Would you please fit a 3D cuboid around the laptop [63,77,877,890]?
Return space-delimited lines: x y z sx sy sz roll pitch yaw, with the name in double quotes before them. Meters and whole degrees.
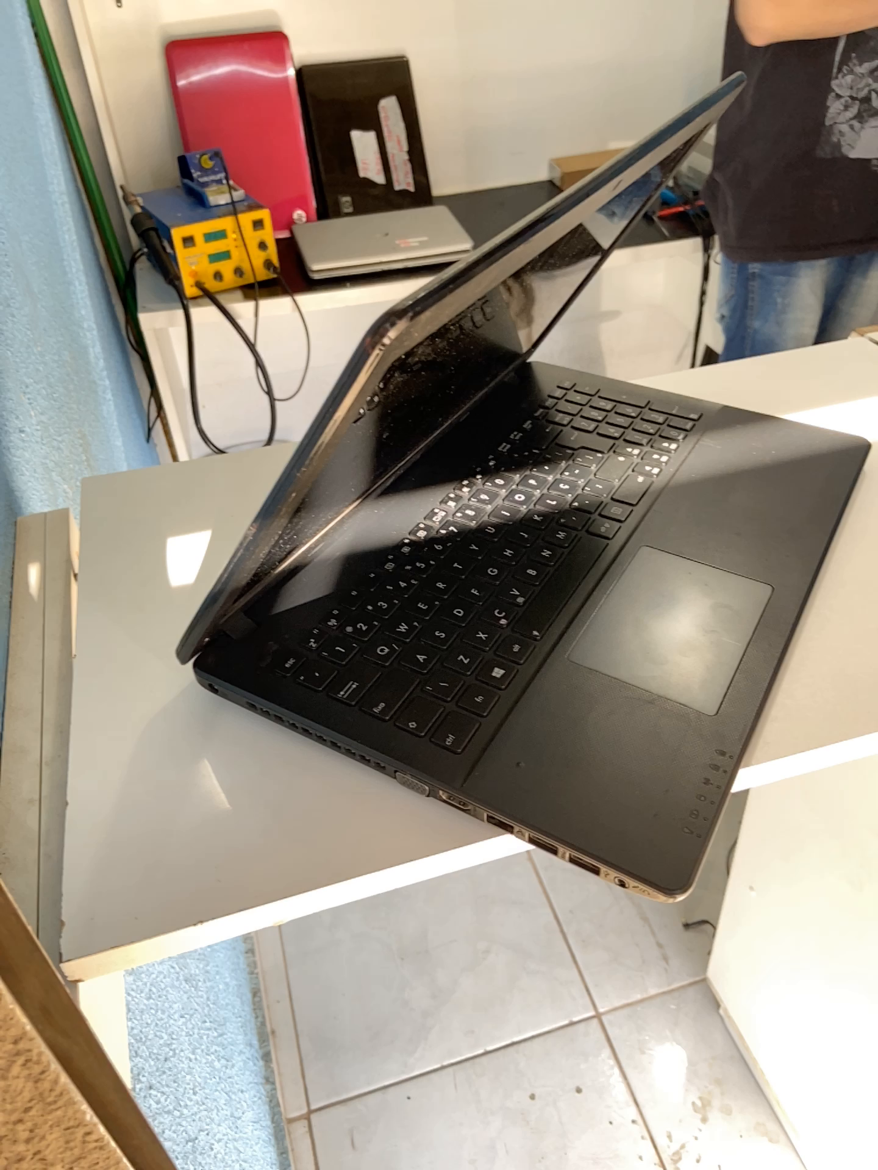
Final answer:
"laptop" 0.073 -0.102 0.452 0.239 0.190 0.374 19 44 25
